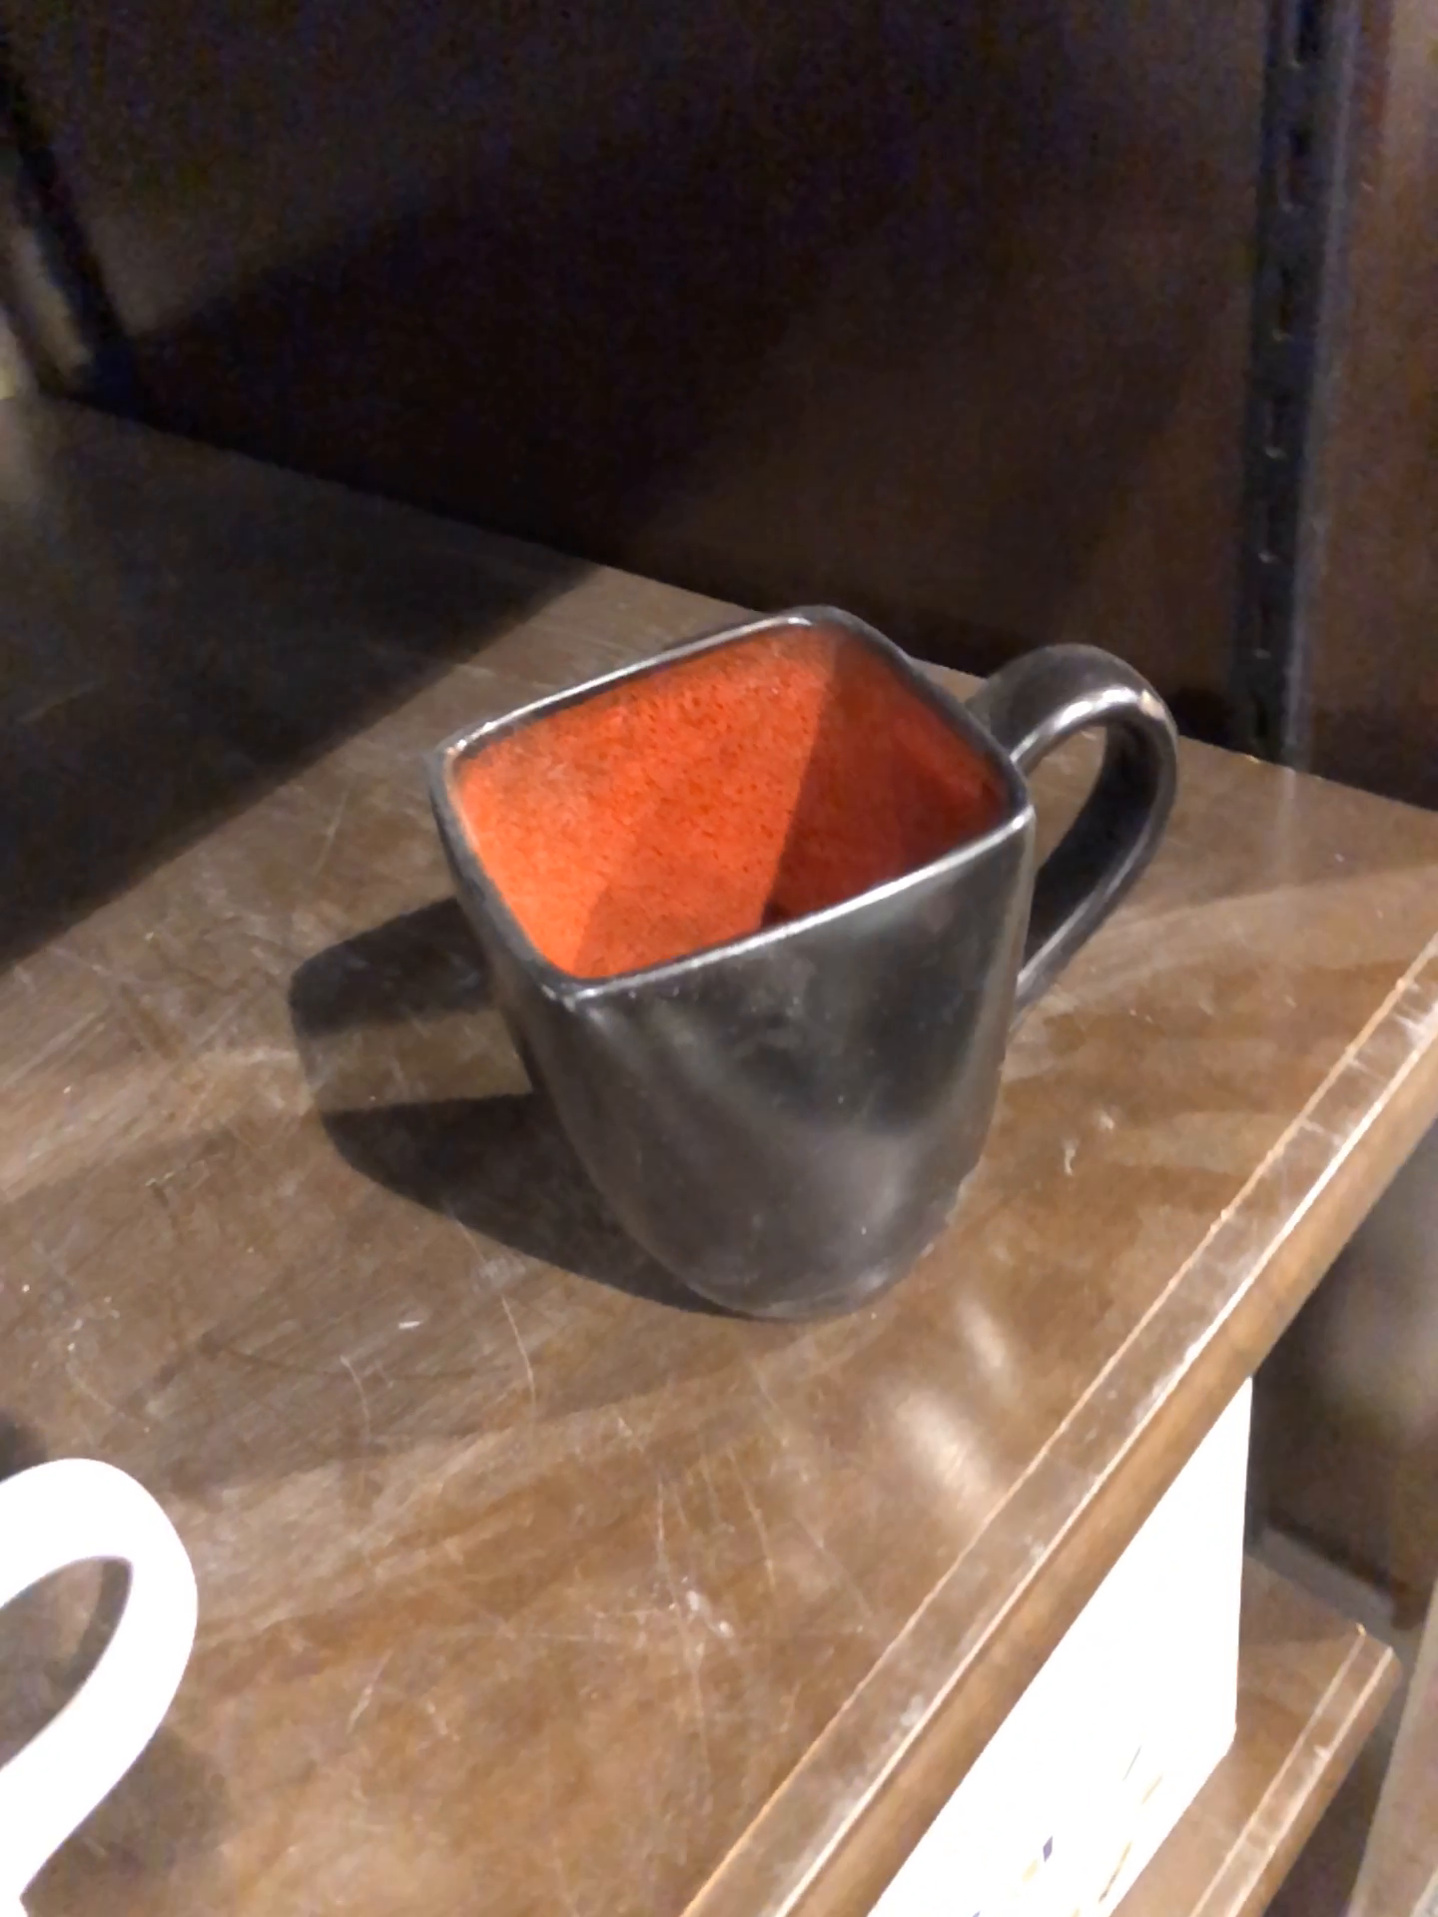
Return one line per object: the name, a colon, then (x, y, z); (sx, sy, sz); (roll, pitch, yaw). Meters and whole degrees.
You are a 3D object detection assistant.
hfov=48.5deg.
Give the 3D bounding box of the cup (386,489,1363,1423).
cup: (0.024, -0.006, 0.273); (0.123, 0.083, 0.095); (-22, 40, -9)
